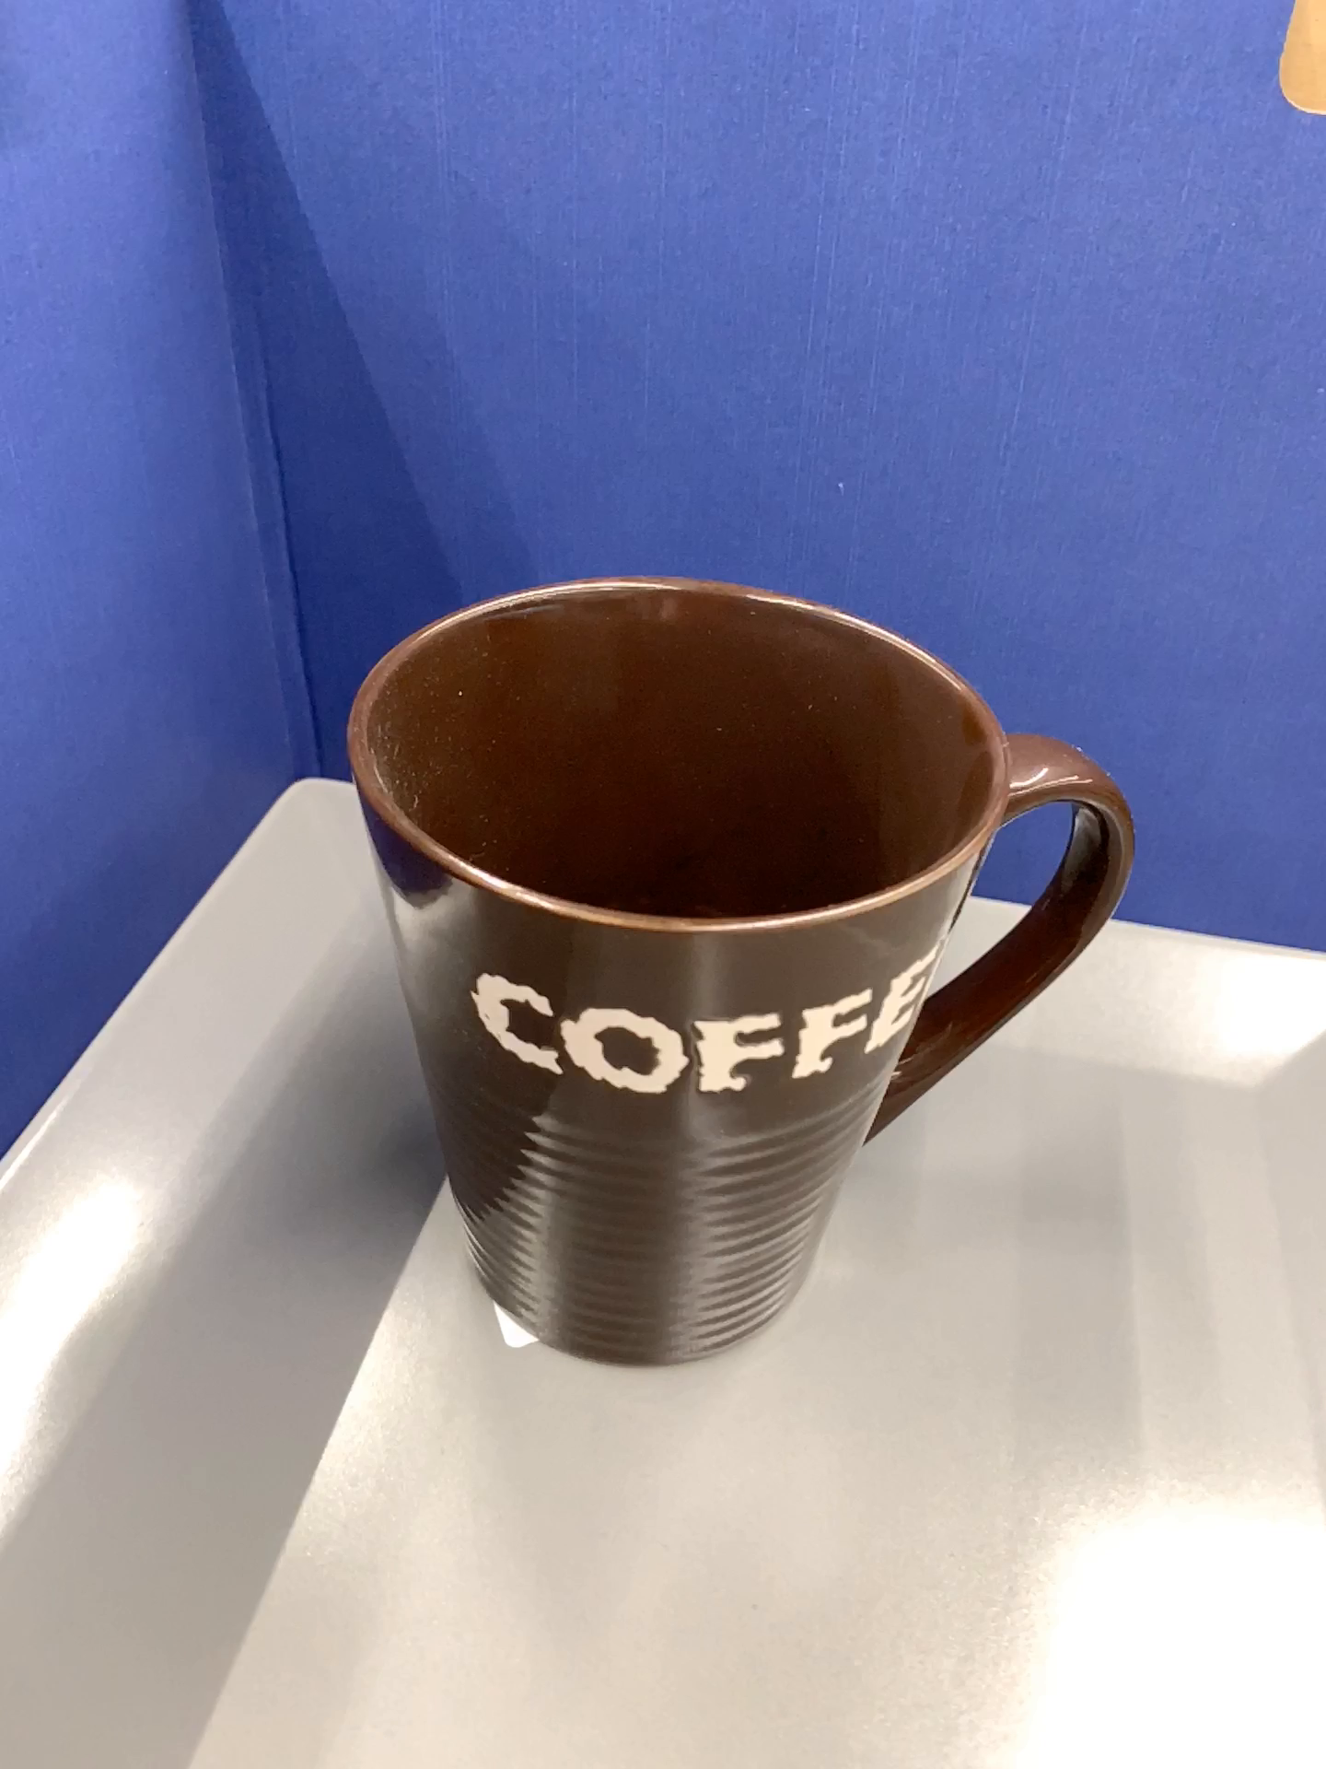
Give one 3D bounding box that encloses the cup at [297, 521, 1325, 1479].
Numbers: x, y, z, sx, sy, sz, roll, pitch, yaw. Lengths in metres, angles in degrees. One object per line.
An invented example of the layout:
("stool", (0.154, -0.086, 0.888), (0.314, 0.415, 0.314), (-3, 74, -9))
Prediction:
("cup", (0.017, 0.011, 0.227), (0.128, 0.098, 0.089), (-11, 39, -19))
